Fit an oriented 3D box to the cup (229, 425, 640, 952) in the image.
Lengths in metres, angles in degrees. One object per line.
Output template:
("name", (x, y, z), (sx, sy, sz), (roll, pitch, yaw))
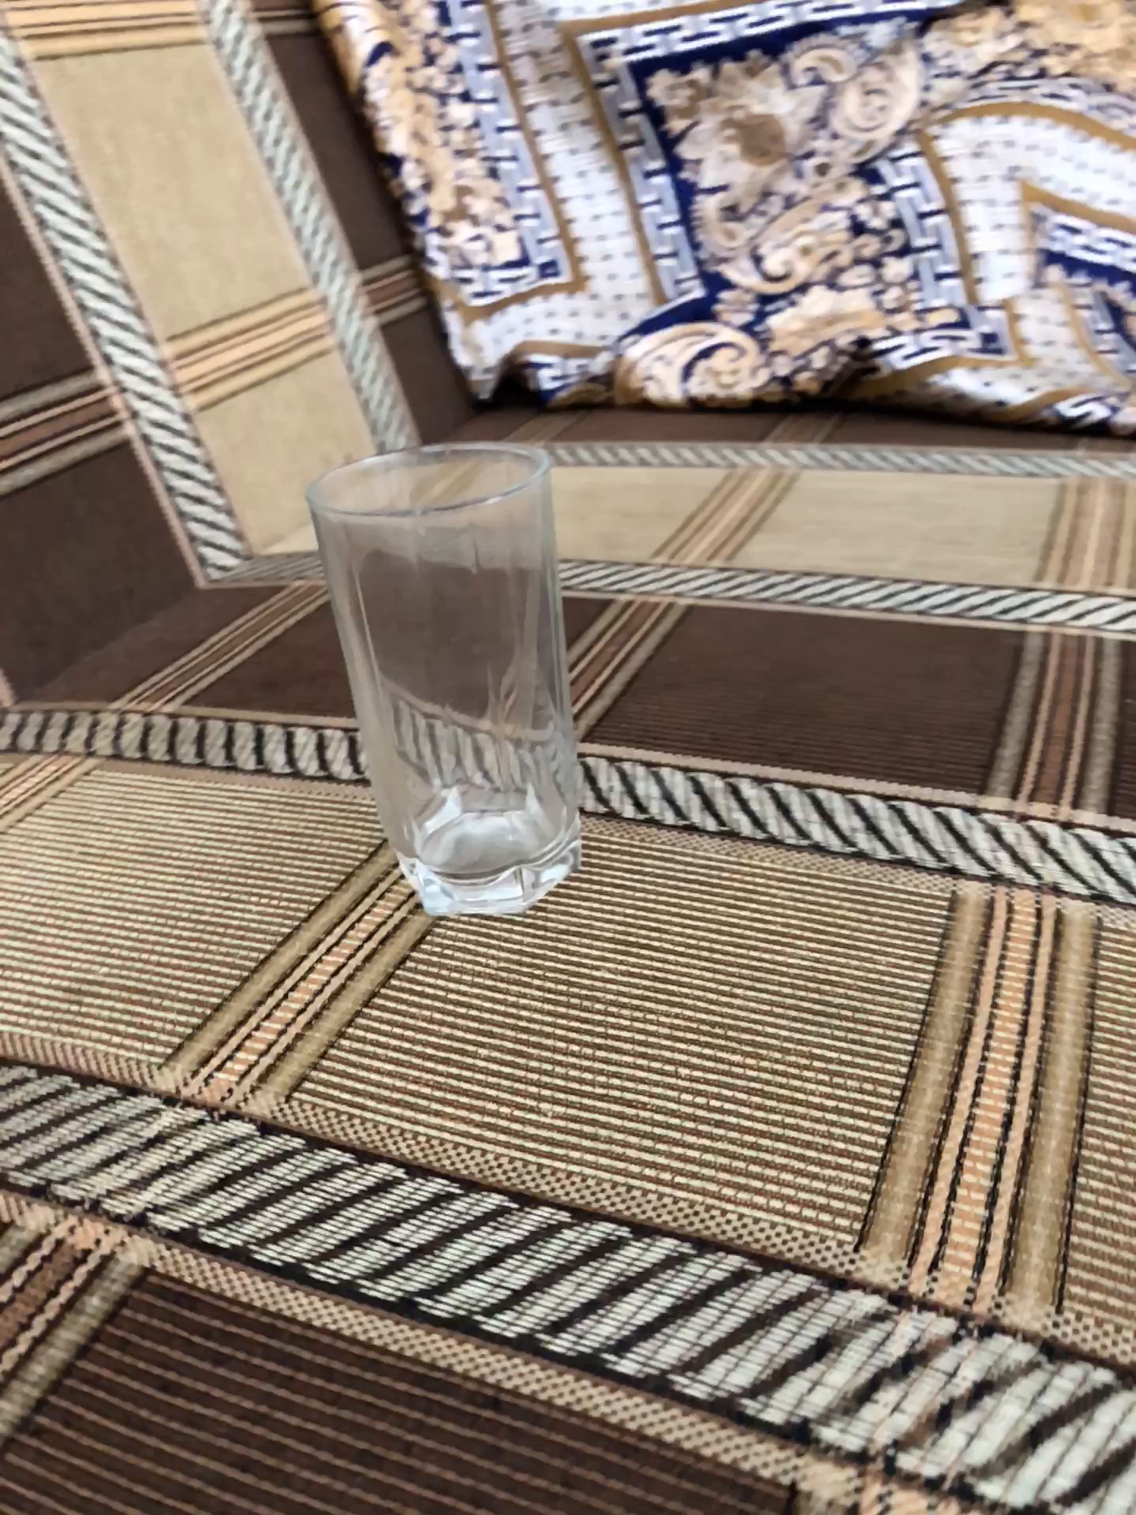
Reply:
("cup", (-0.035, -0.025, 0.384), (0.075, 0.130, 0.077), (-5, 27, 3))
